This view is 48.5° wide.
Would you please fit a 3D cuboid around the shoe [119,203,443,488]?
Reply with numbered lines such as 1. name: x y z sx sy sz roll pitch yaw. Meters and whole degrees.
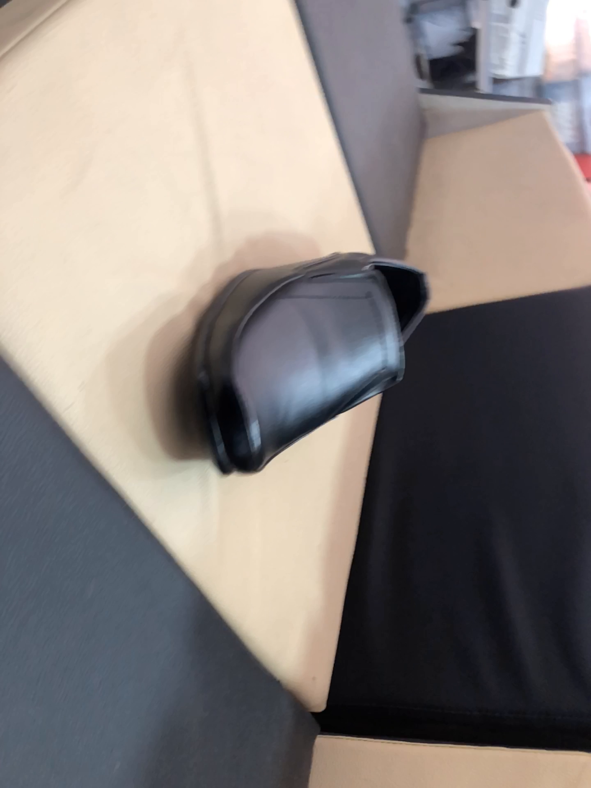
1. shoe: 0.021 -0.053 0.441 0.292 0.099 0.100 -47 128 -60
